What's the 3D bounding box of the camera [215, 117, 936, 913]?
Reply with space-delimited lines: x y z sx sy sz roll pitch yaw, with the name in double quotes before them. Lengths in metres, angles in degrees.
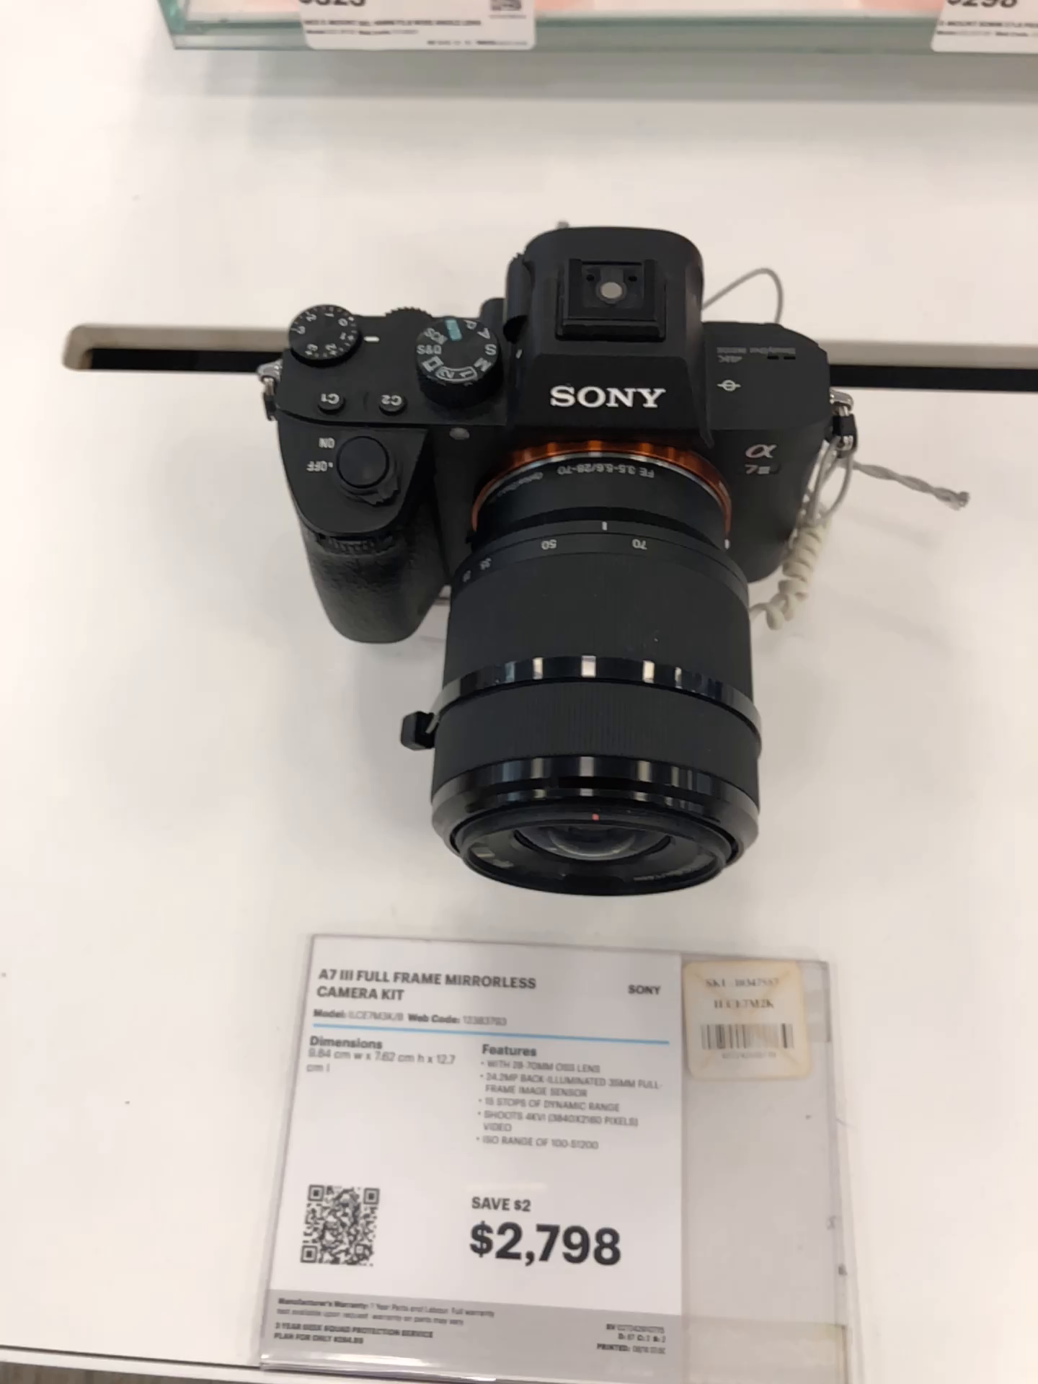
"camera" 0.017 -0.040 0.287 0.130 0.100 0.160 3 67 4
